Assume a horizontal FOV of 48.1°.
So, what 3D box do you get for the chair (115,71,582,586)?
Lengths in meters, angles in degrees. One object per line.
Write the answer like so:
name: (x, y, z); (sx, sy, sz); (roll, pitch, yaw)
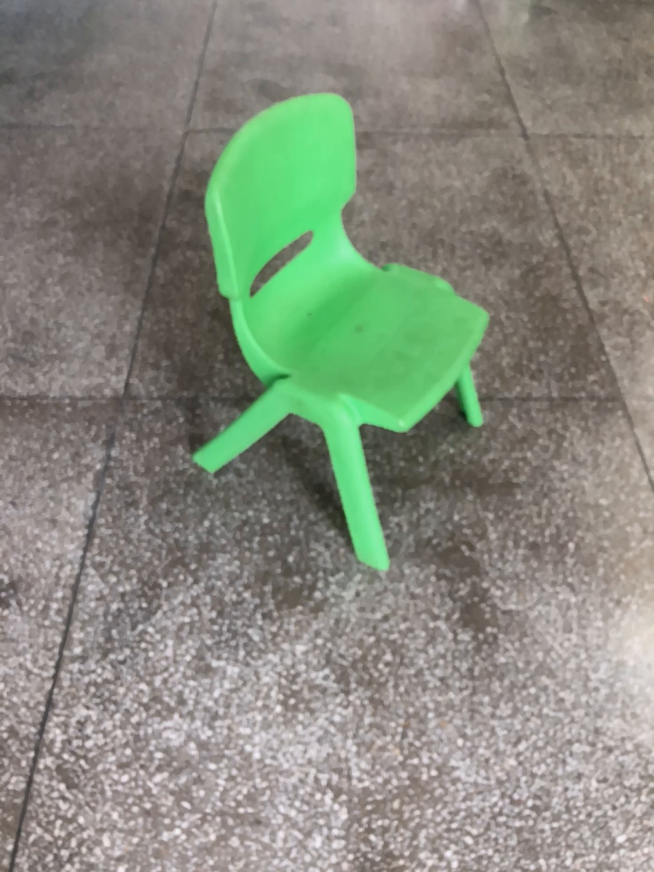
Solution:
chair: (0.030, -0.143, 0.993); (0.390, 0.459, 0.371); (26, 53, 18)
